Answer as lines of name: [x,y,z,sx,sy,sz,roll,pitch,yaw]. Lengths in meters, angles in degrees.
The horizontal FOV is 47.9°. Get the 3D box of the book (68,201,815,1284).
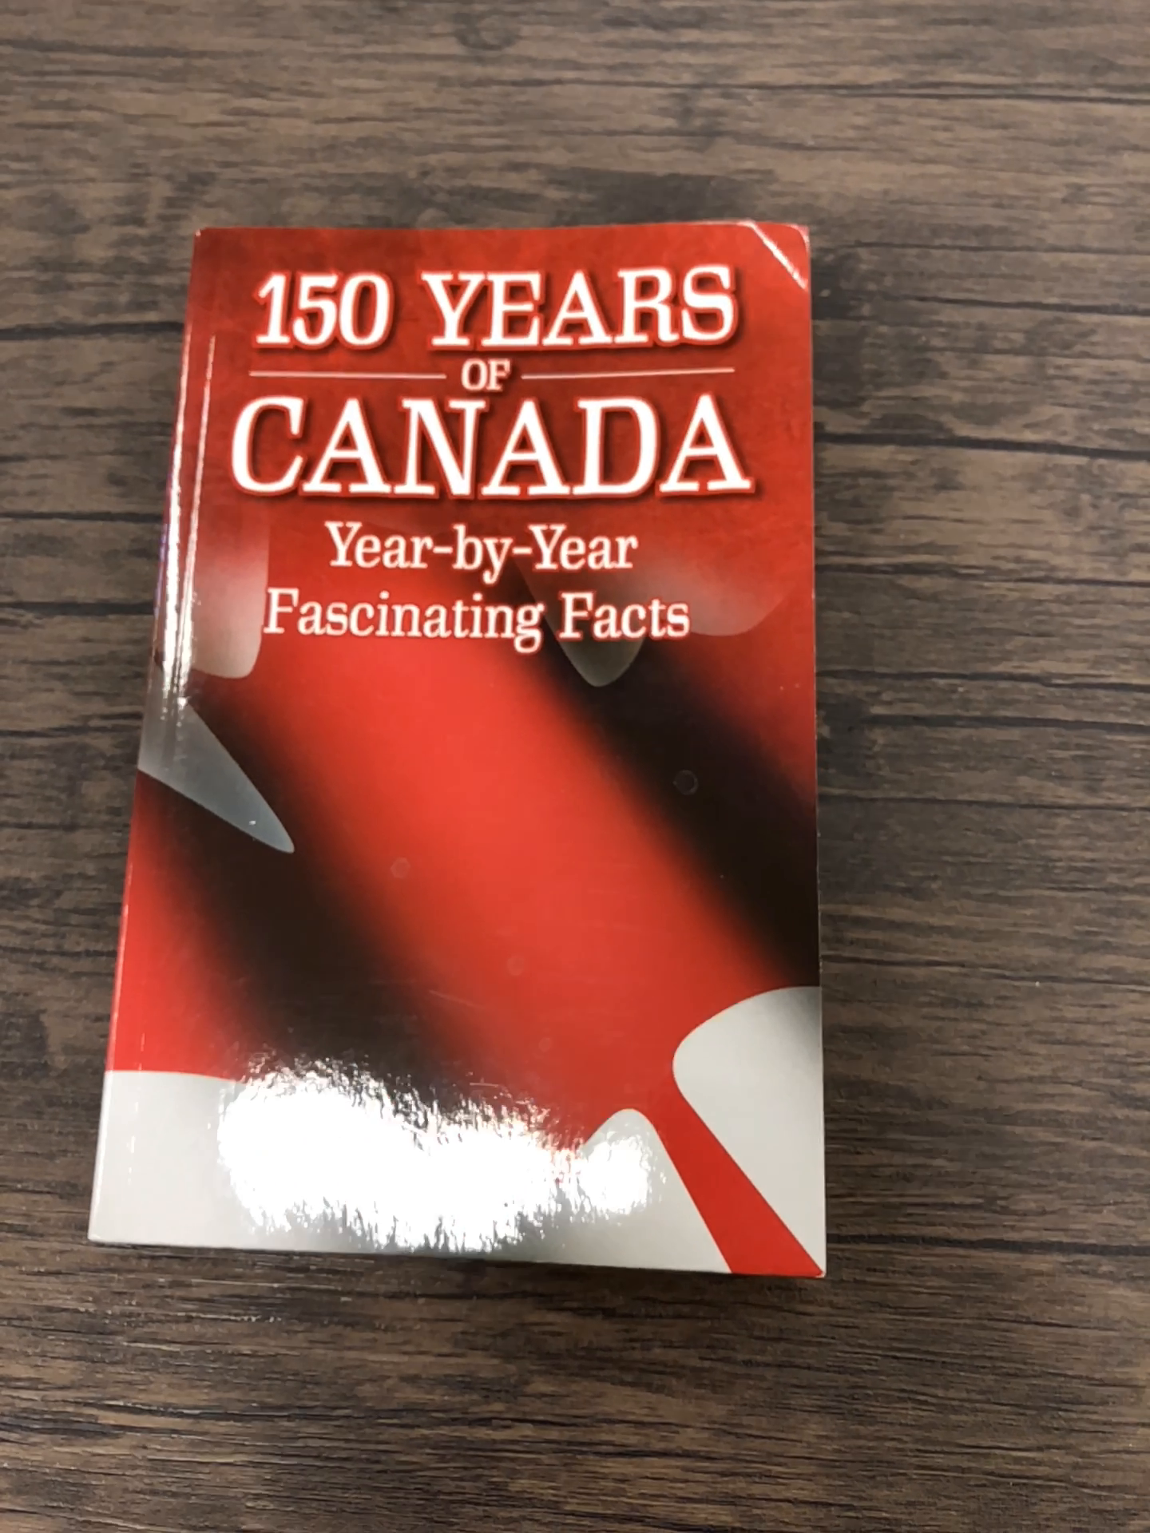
book: [-0.021,-0.011,0.257,0.130,0.025,0.206,0,76,7]
